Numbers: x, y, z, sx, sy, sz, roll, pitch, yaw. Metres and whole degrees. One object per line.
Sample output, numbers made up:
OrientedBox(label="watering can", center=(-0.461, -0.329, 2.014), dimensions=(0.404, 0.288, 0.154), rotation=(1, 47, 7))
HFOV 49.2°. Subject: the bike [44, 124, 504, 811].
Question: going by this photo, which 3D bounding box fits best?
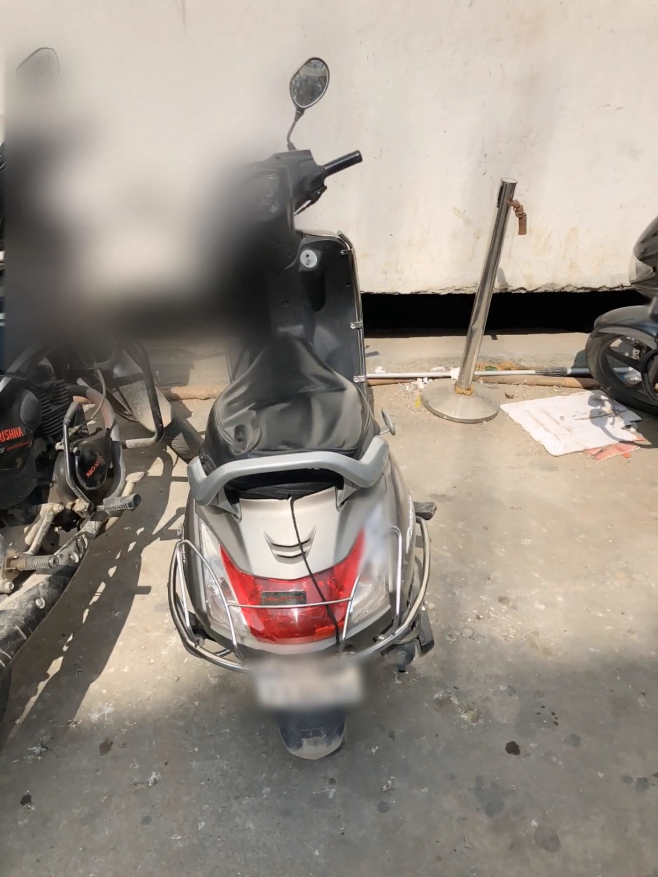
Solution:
OrientedBox(label="bike", center=(-0.126, -0.098, 1.892), dimensions=(0.616, 1.108, 1.508), rotation=(2, 32, -4))
